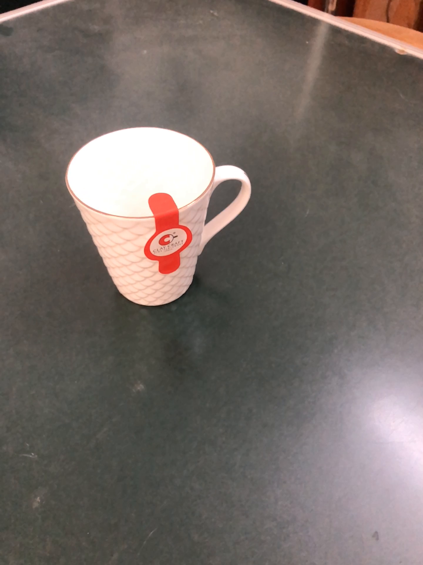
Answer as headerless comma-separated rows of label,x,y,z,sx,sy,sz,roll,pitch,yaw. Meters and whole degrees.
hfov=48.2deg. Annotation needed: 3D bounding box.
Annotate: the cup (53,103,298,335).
cup,-0.023,-0.042,0.307,0.120,0.090,0.080,-19,53,-16
